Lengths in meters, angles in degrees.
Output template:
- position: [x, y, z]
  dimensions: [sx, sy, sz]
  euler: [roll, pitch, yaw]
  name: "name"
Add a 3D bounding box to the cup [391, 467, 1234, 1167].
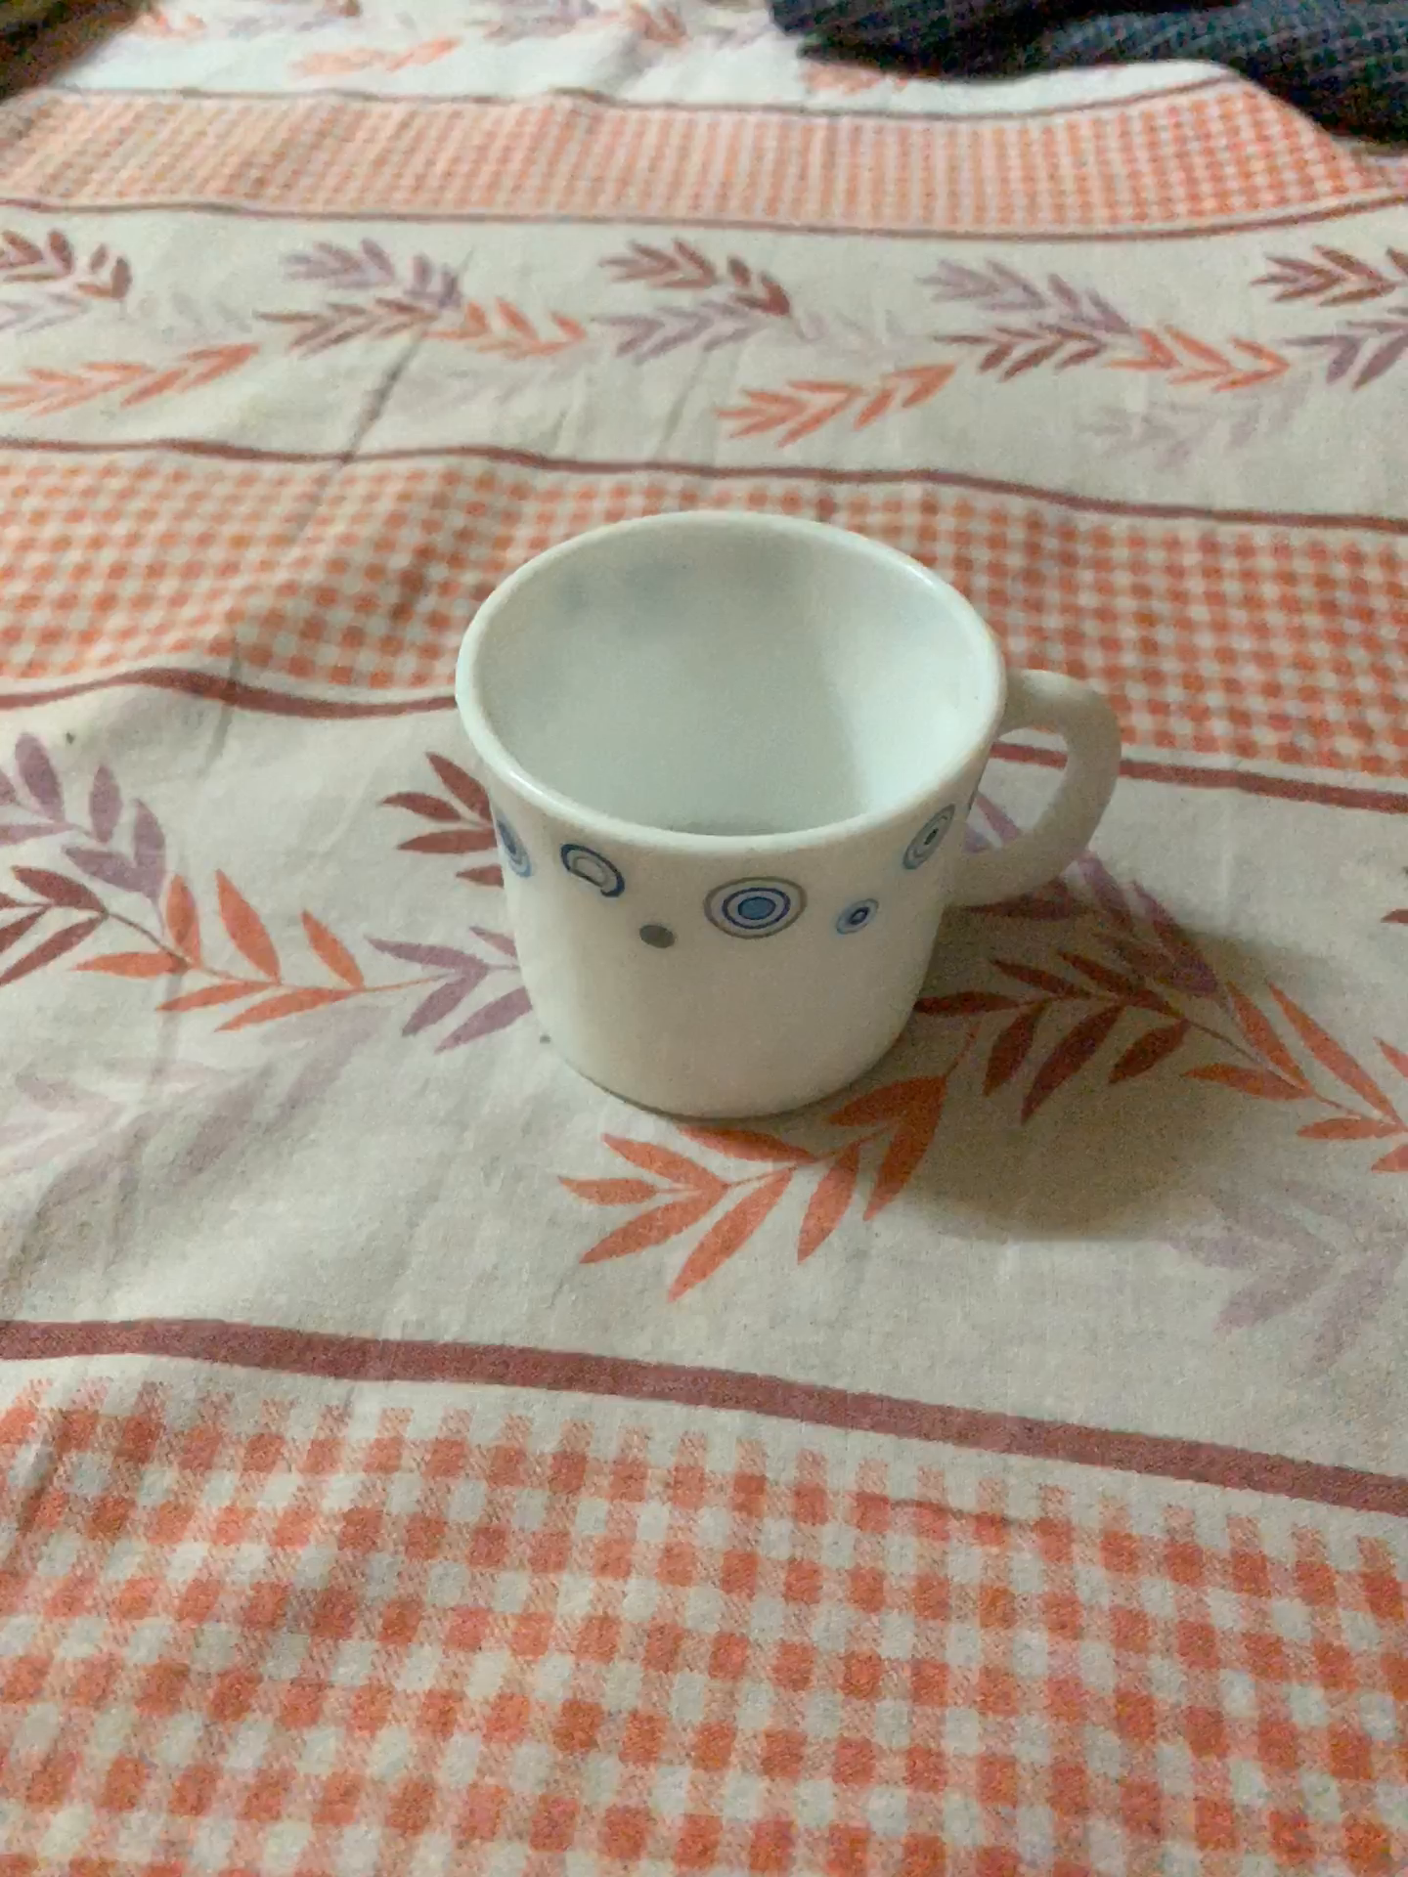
- position: [0.010, -0.019, 0.223]
  dimensions: [0.100, 0.070, 0.070]
  euler: [-4, 48, -4]
  name: "cup"
